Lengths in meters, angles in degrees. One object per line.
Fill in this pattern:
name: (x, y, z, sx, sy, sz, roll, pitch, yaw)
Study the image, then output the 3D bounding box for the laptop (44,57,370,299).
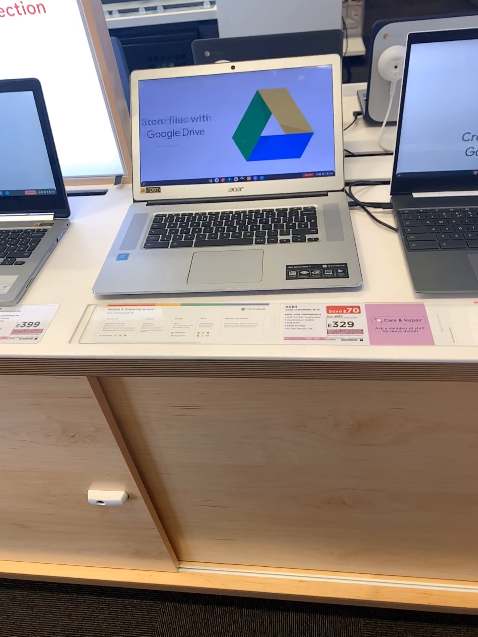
laptop: (-0.020, -0.243, 0.773, 0.375, 0.168, 0.434, -2, 42, 6)
